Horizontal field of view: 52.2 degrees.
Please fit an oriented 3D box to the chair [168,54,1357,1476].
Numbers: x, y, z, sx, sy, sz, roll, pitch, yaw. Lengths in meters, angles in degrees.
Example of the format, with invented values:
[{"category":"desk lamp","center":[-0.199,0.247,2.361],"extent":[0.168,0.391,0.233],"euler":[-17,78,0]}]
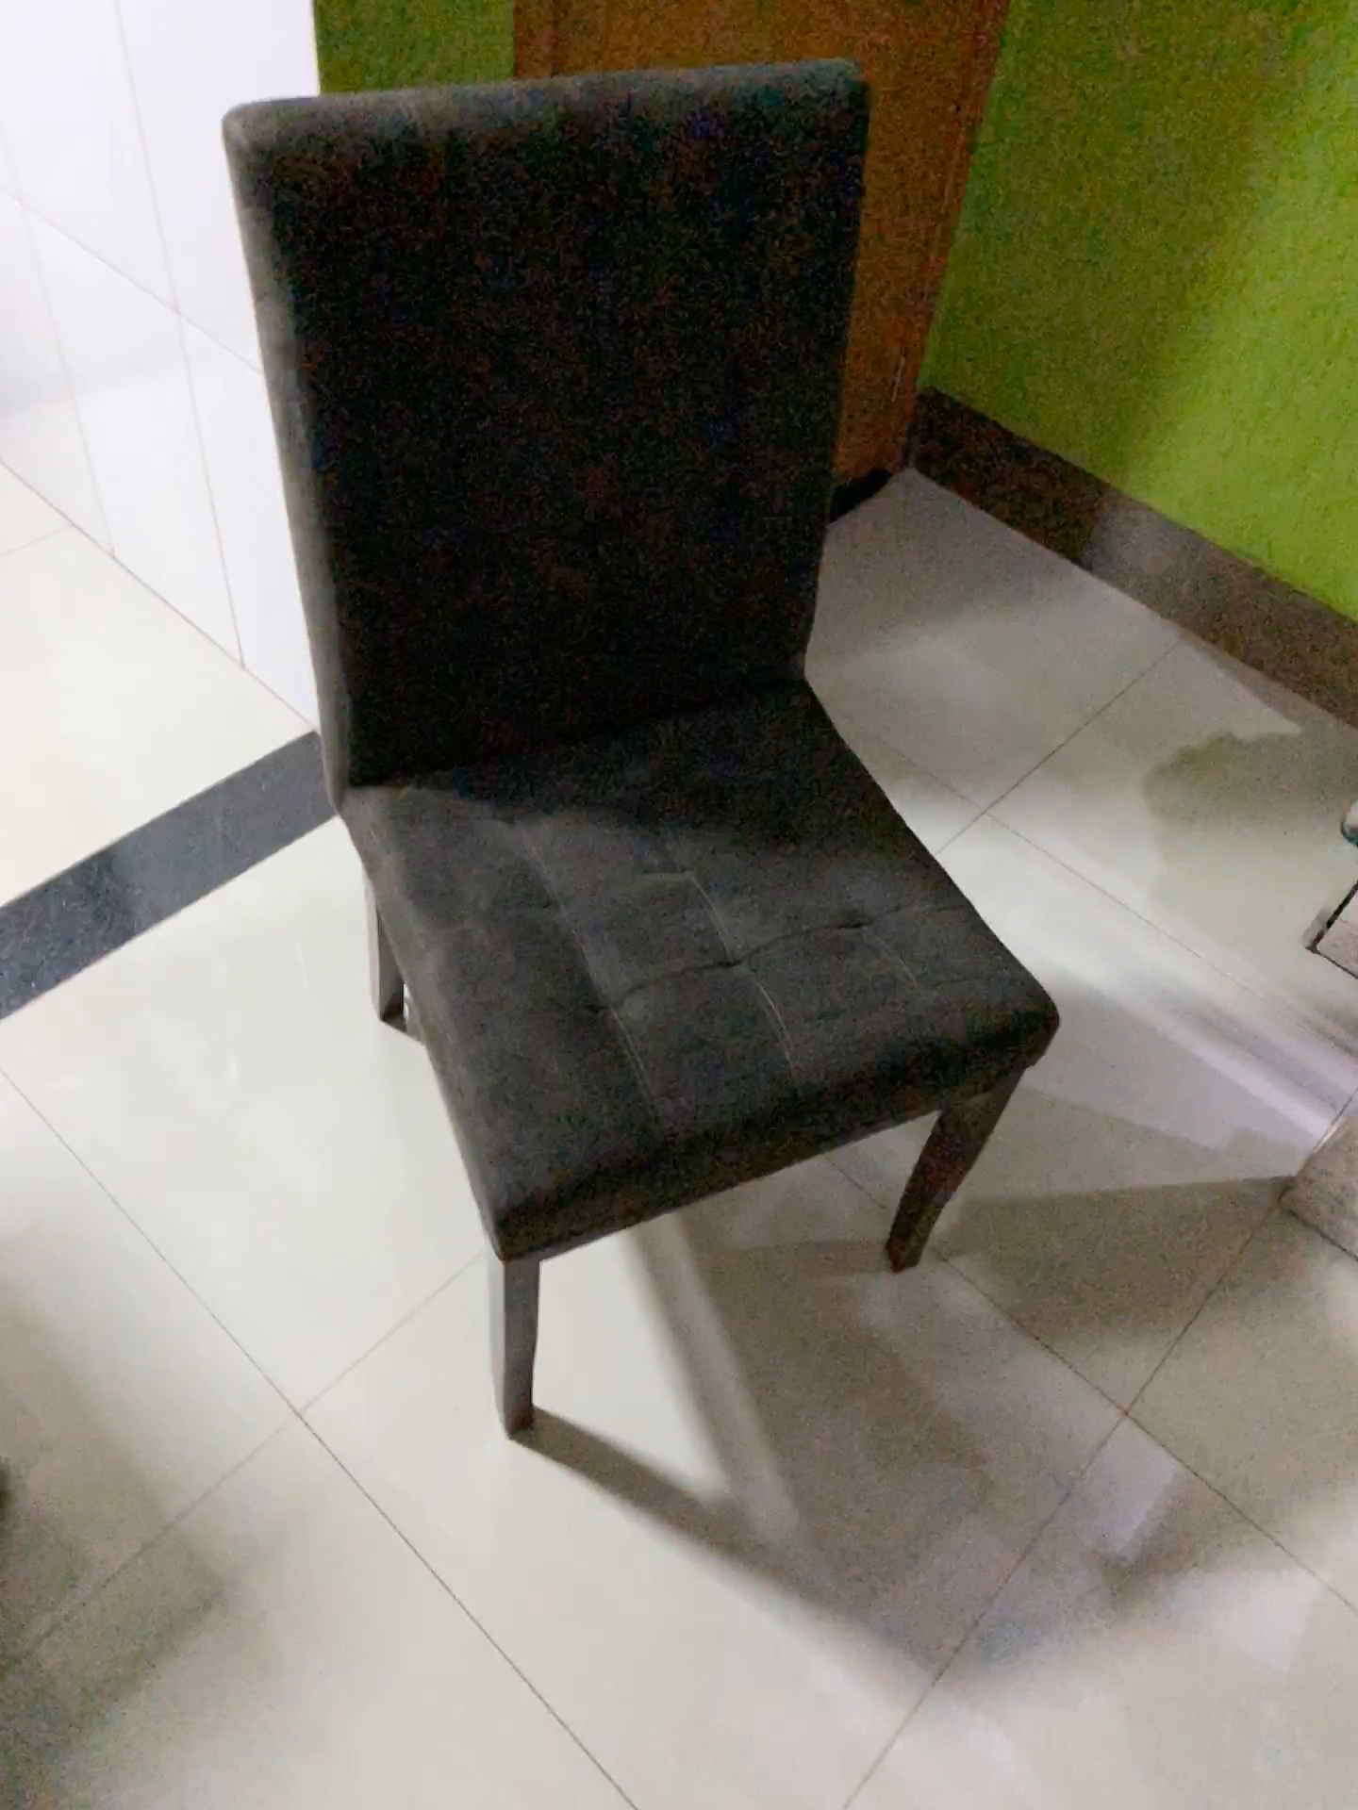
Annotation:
[{"category":"chair","center":[0.000,-0.051,1.169],"extent":[0.541,0.971,0.574],"euler":[-17,55,-19]}]
